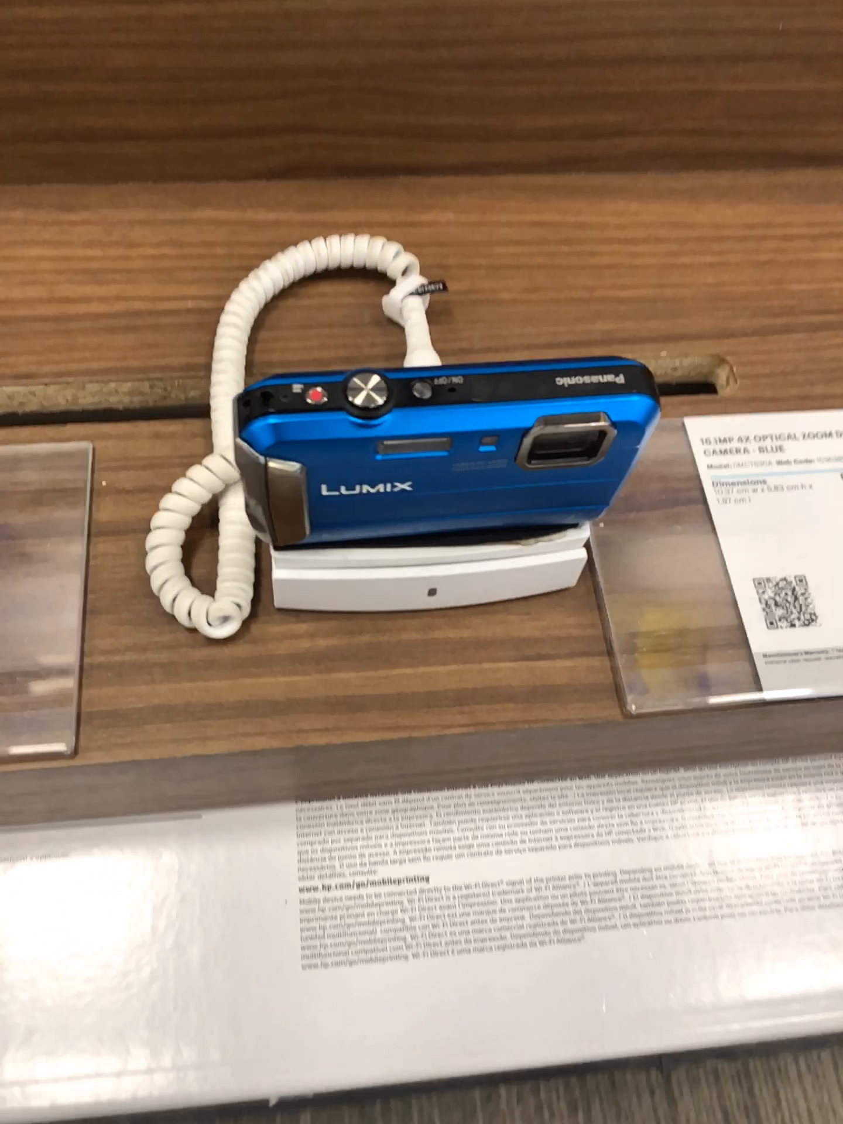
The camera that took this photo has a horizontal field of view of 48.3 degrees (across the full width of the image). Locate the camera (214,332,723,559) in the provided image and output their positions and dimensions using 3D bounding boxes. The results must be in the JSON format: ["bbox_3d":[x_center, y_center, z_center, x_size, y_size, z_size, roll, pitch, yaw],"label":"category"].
[{"bbox_3d":[0.009,-0.027,0.233,0.110,0.060,0.020,-4,65,-6],"label":"camera"}]
